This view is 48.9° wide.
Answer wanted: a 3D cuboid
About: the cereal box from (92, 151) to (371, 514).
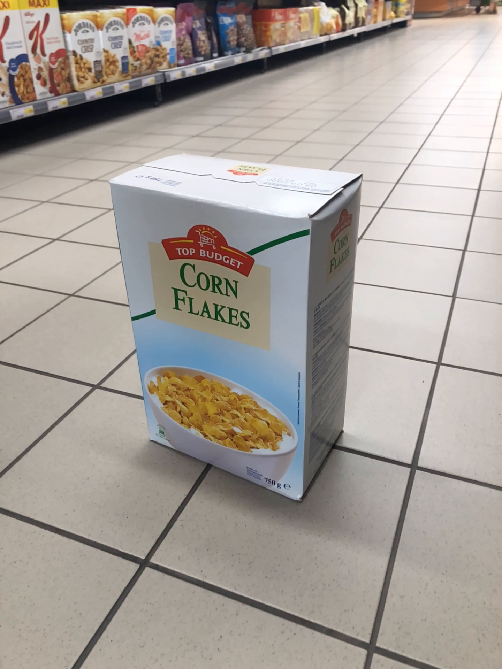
[{"bbox_3d":[-0.014,-0.007,0.534,0.200,0.288,0.121,16,35,26],"label":"cereal box"}]
